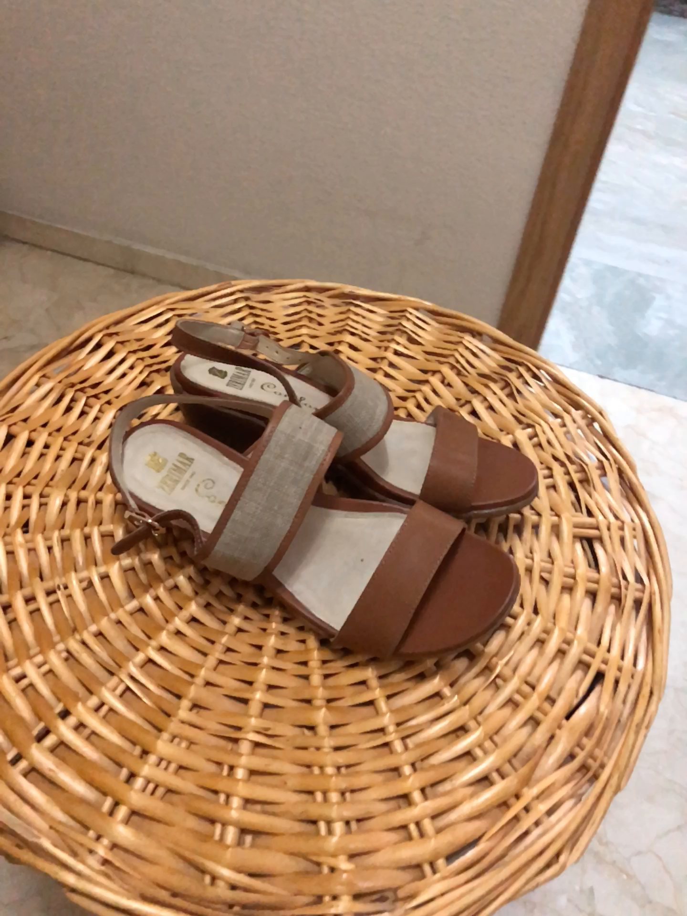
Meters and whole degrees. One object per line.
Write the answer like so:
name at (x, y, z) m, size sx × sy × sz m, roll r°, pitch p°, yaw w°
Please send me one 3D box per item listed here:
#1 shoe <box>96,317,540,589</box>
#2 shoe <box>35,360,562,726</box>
shoe at (-0.015, -0.006, 0.517) m, size 0.270 × 0.090 × 0.090 m, roll 13°, pitch 47°, yaw 7°
shoe at (-0.027, 0.044, 0.441) m, size 0.270 × 0.070 × 0.100 m, roll 21°, pitch 64°, yaw 14°
